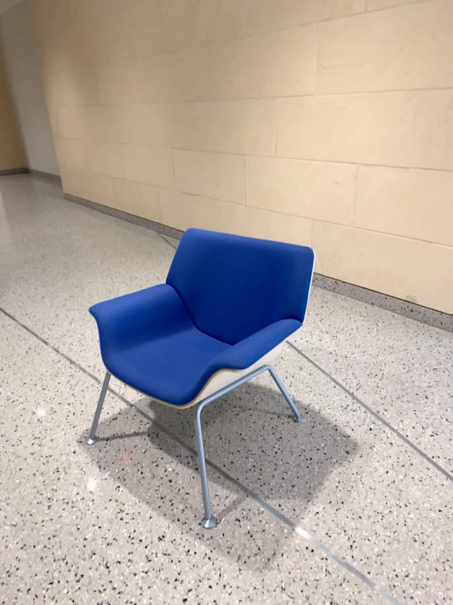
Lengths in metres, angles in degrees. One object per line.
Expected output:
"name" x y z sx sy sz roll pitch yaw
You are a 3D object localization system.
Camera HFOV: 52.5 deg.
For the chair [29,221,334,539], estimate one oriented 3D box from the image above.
"chair" -0.134 0.179 1.778 0.781 0.729 0.760 17 31 38
